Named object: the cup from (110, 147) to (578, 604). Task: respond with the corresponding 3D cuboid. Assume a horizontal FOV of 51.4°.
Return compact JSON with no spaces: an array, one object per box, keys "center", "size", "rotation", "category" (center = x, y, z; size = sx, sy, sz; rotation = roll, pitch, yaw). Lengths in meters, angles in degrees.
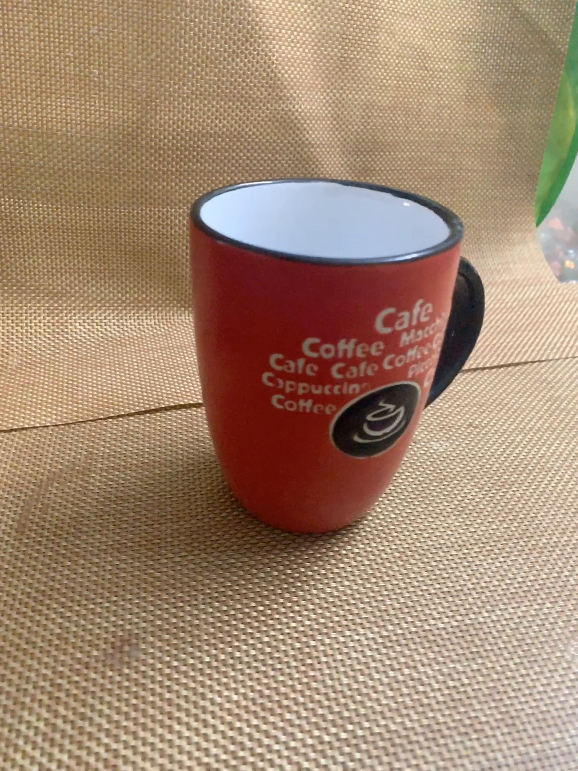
[{"center":[0.019,-0.017,0.210],"size":[0.120,0.099,0.090],"rotation":[-21,39,-33],"category":"cup"}]
